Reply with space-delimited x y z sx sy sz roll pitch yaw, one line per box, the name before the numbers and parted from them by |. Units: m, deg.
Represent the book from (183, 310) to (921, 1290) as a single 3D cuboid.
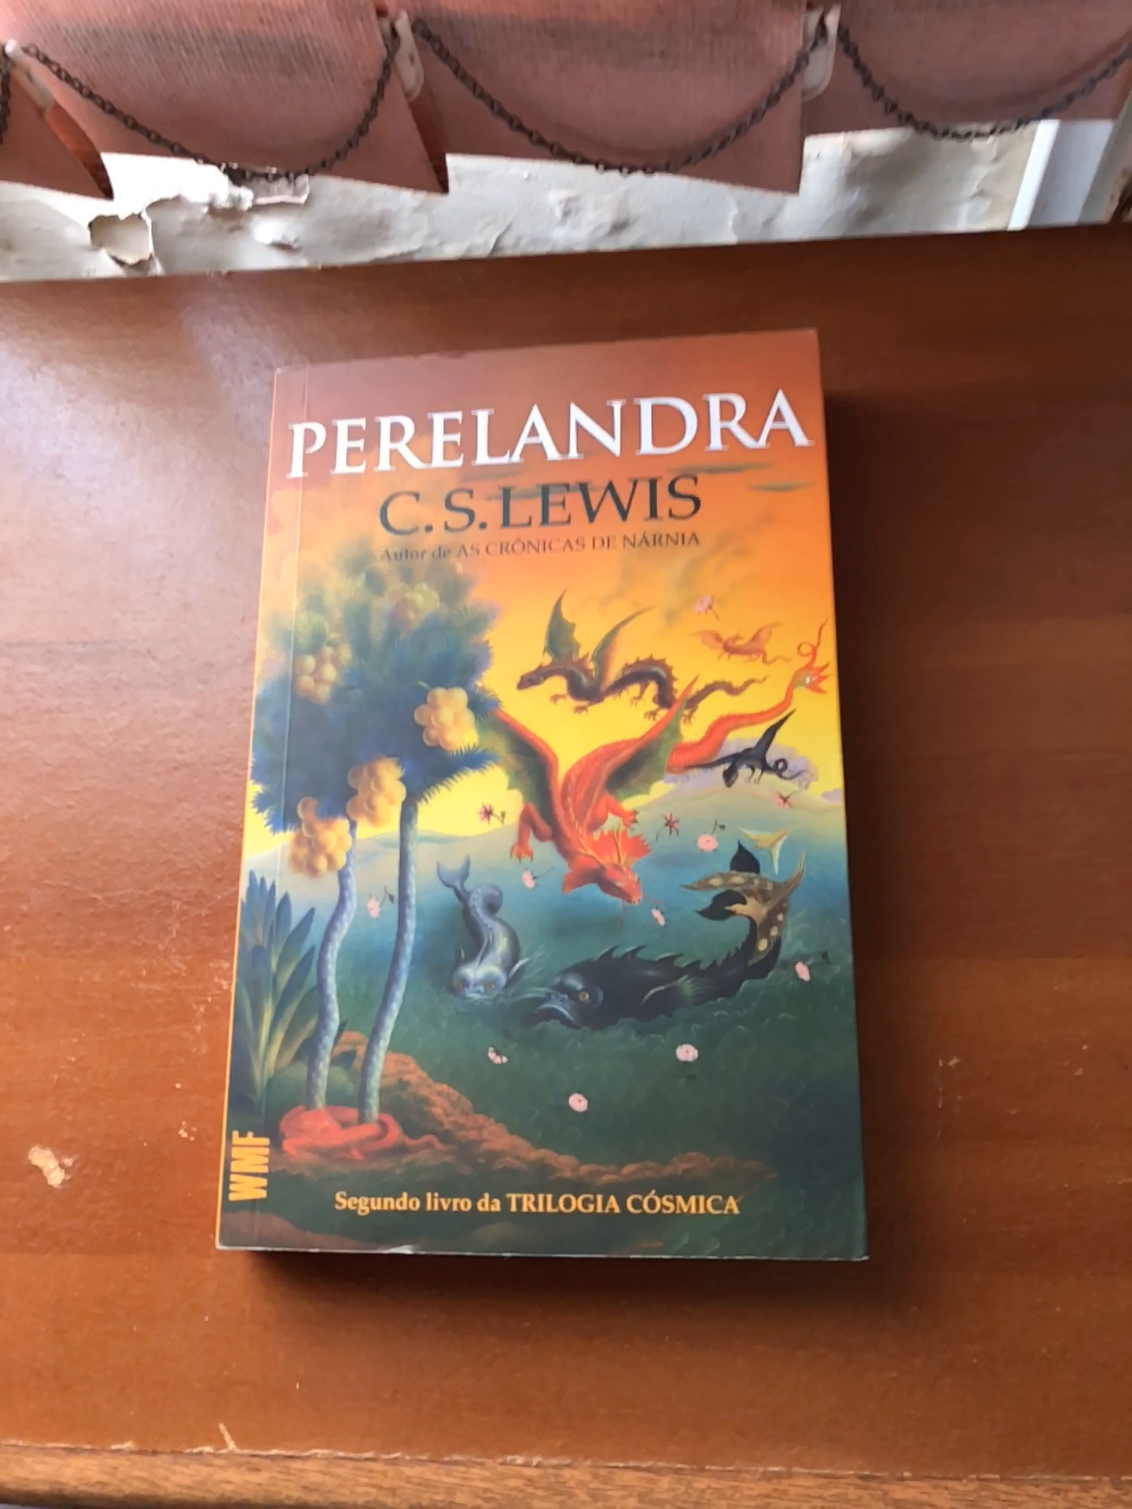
book | -0.003 0.005 0.259 0.130 0.030 0.190 -2 74 7
